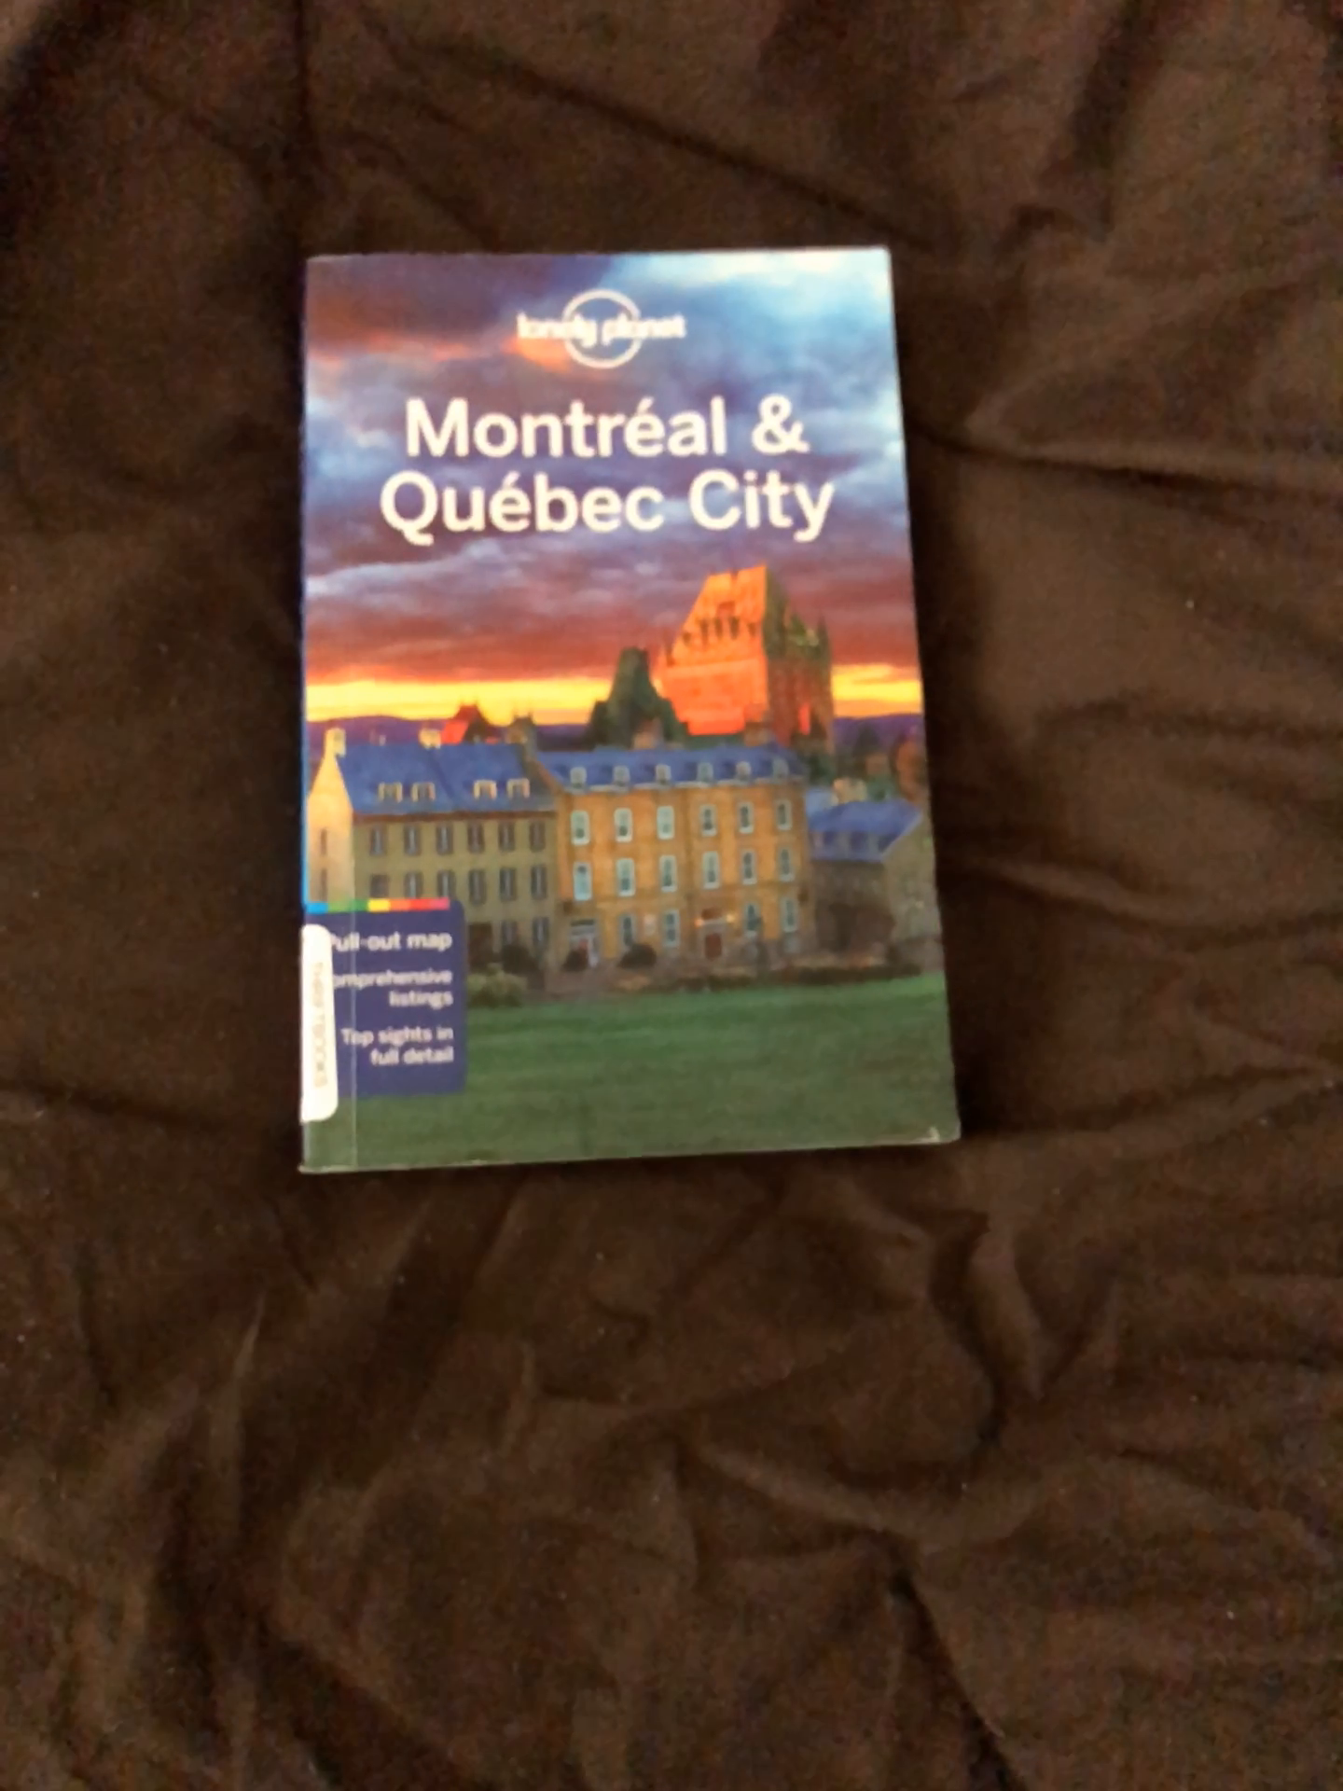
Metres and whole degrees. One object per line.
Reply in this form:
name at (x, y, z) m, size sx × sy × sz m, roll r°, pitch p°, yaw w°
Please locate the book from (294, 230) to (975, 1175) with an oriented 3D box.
book at (-0.011, -0.045, 0.334) m, size 0.137 × 0.024 × 0.205 m, roll -2°, pitch 80°, yaw -2°
